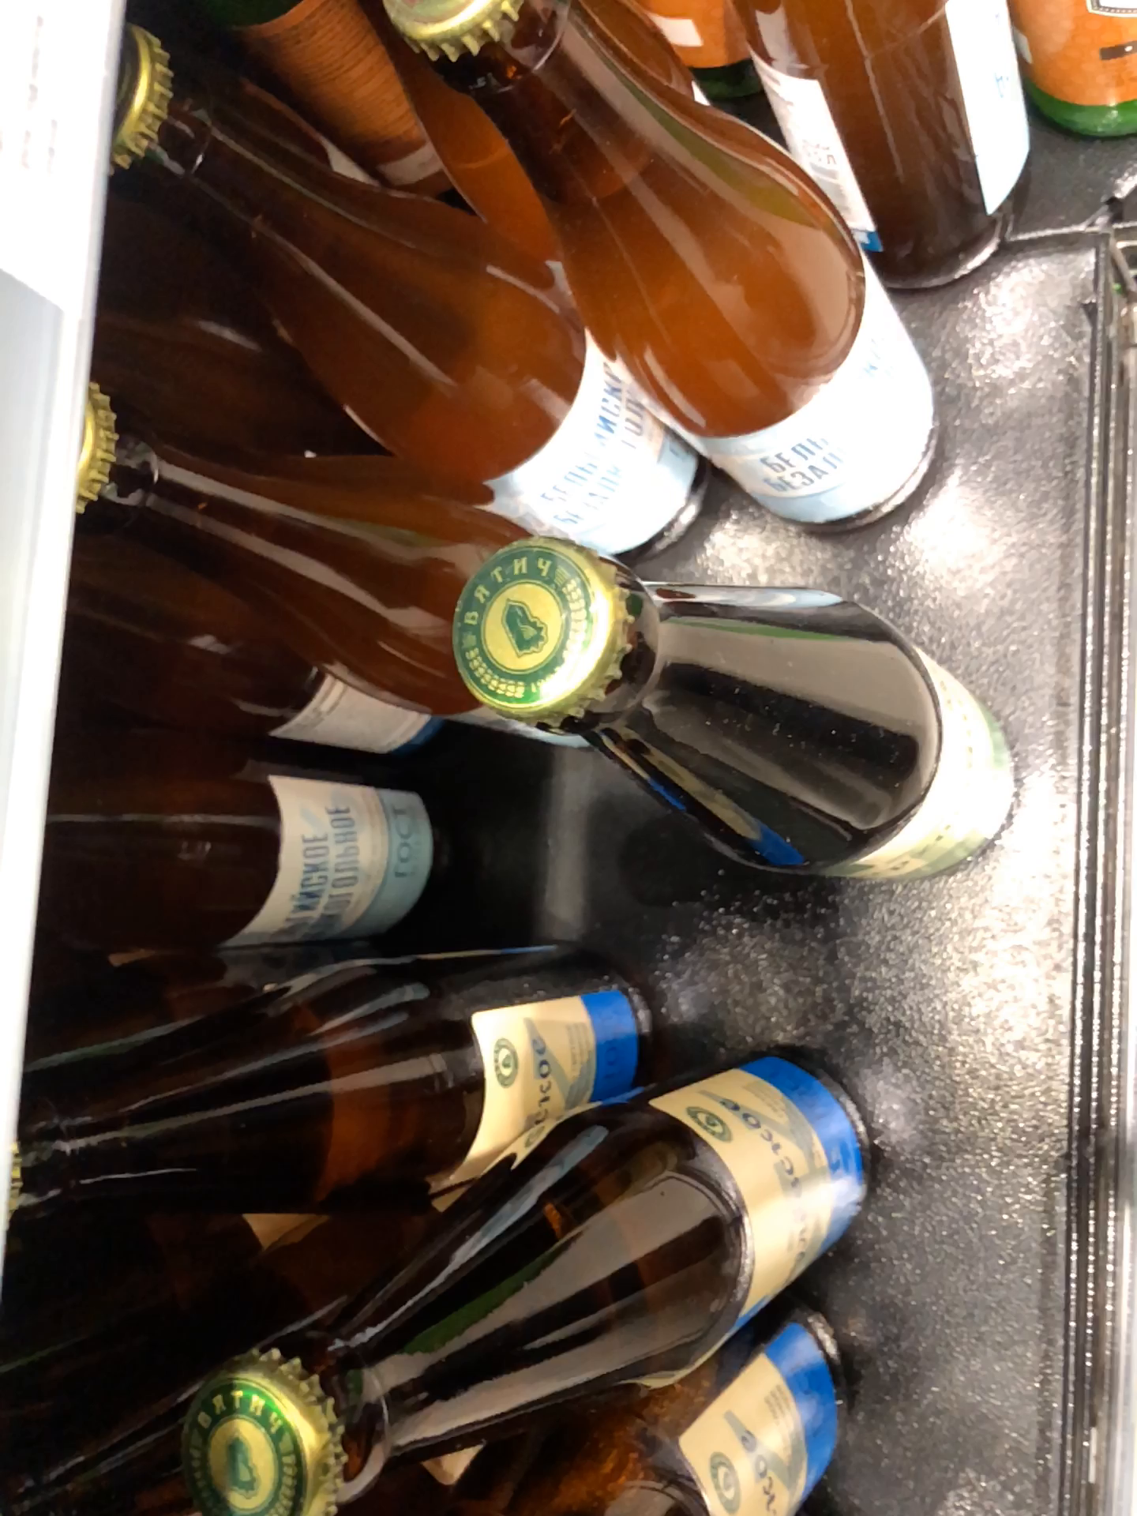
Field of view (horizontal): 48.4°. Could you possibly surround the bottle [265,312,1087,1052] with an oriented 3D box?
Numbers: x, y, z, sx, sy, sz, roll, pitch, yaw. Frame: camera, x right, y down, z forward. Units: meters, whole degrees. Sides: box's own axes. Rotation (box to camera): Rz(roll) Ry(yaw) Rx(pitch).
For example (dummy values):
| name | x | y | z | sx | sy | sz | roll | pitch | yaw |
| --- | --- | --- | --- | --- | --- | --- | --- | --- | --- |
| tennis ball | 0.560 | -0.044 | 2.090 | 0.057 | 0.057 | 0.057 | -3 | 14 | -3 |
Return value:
| name | x | y | z | sx | sy | sz | roll | pitch | yaw |
| --- | --- | --- | --- | --- | --- | --- | --- | --- | --- |
| bottle | 0.054 | 0.000 | 0.290 | 0.070 | 0.249 | 0.080 | 40 | 102 | 24 |
